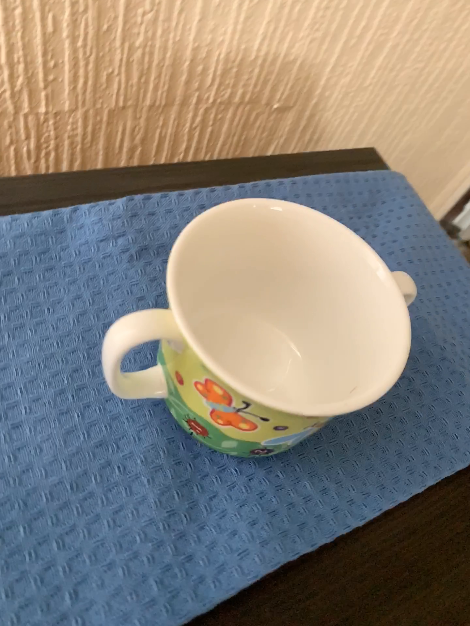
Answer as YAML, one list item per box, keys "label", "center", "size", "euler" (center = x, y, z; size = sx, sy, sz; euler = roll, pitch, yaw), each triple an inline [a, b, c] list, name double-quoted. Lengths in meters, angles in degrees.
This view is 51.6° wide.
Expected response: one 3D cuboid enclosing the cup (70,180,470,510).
- label: "cup"
  center: [0.007, 0.007, 0.190]
  size: [0.120, 0.069, 0.080]
  euler: [-13, 63, -26]
